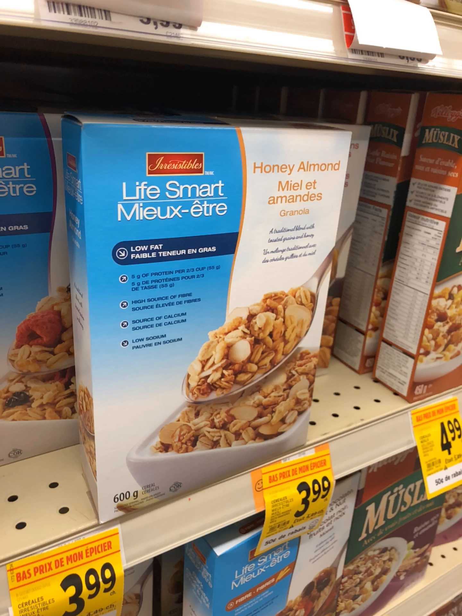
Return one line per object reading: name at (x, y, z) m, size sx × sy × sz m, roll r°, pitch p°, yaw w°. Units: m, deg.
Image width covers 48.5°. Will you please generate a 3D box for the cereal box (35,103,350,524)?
cereal box at (-0.024, 0.000, 0.337) m, size 0.170 × 0.238 × 0.060 m, roll -10°, pitch 27°, yaw -31°
